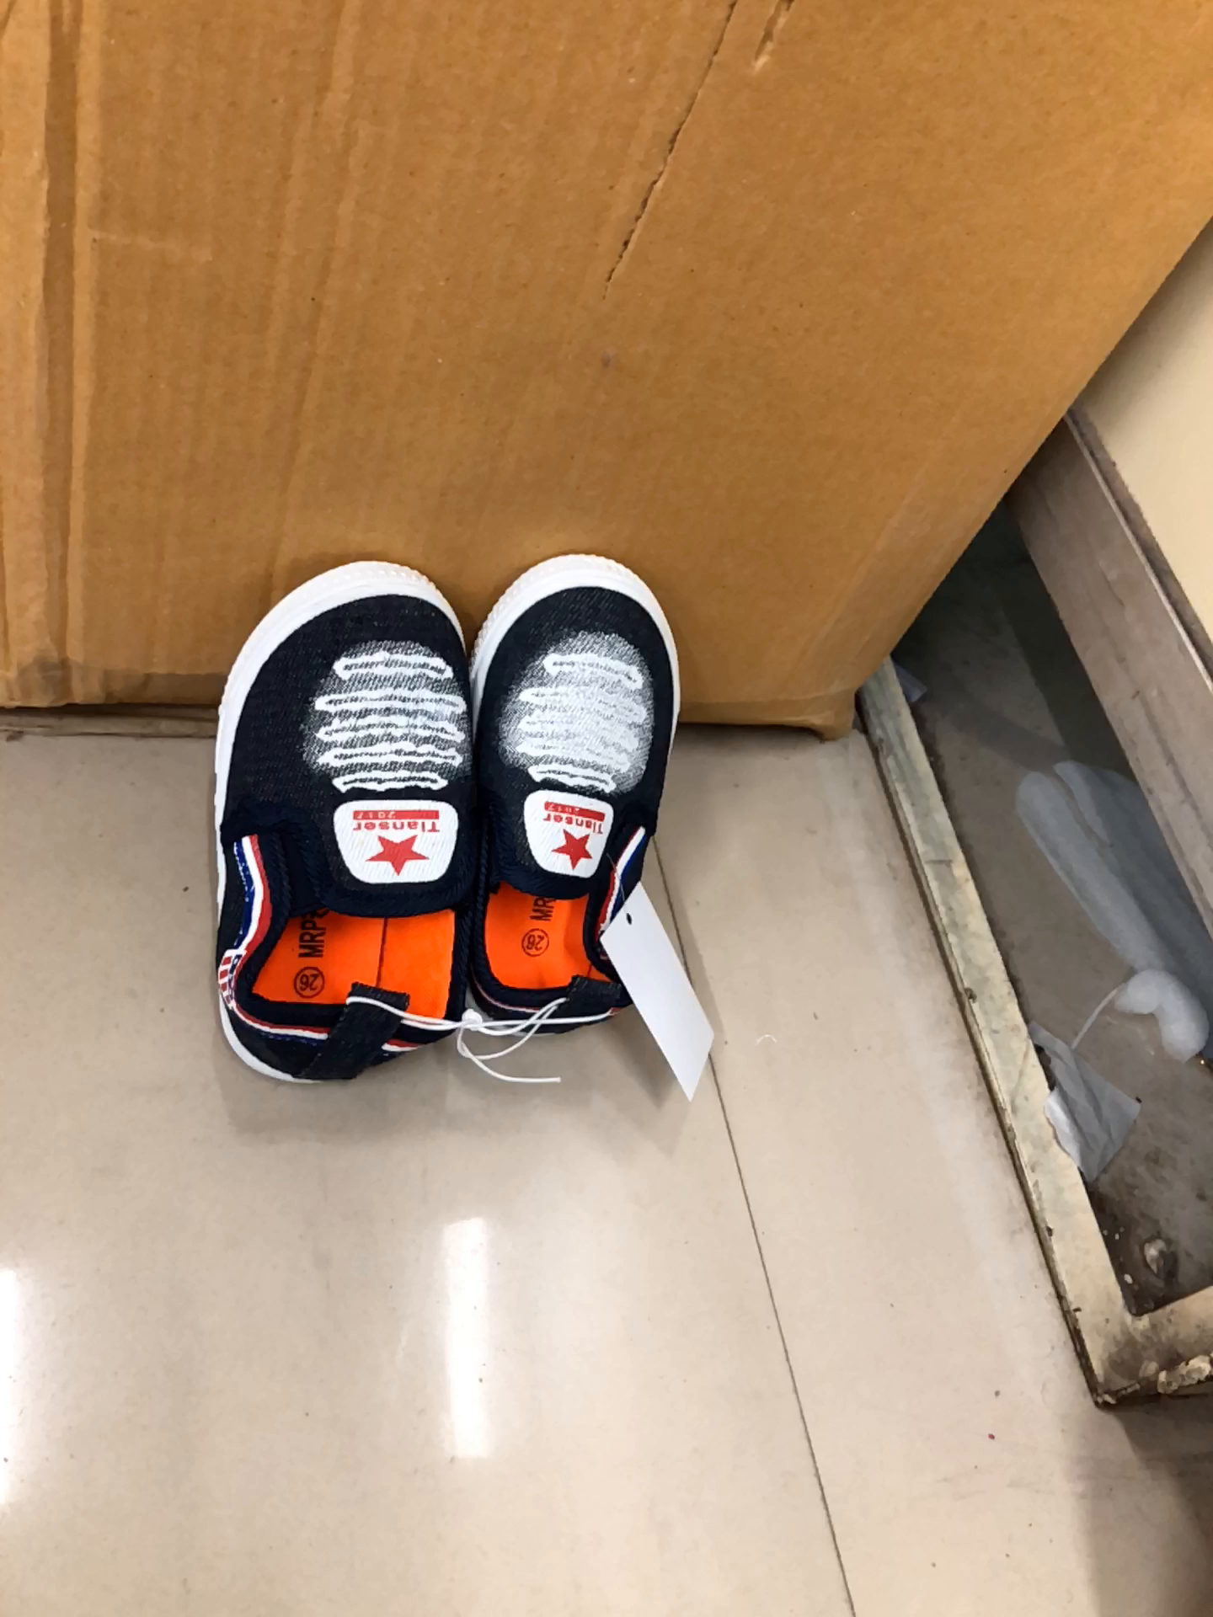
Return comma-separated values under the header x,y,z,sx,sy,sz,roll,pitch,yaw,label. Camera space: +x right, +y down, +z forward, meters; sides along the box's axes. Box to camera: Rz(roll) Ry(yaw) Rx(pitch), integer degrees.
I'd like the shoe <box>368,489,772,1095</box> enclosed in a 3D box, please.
x,y,z,sx,sy,sz,roll,pitch,yaw,label
-0.018,-0.006,0.408,0.080,0.159,0.080,6,16,-17,shoe
